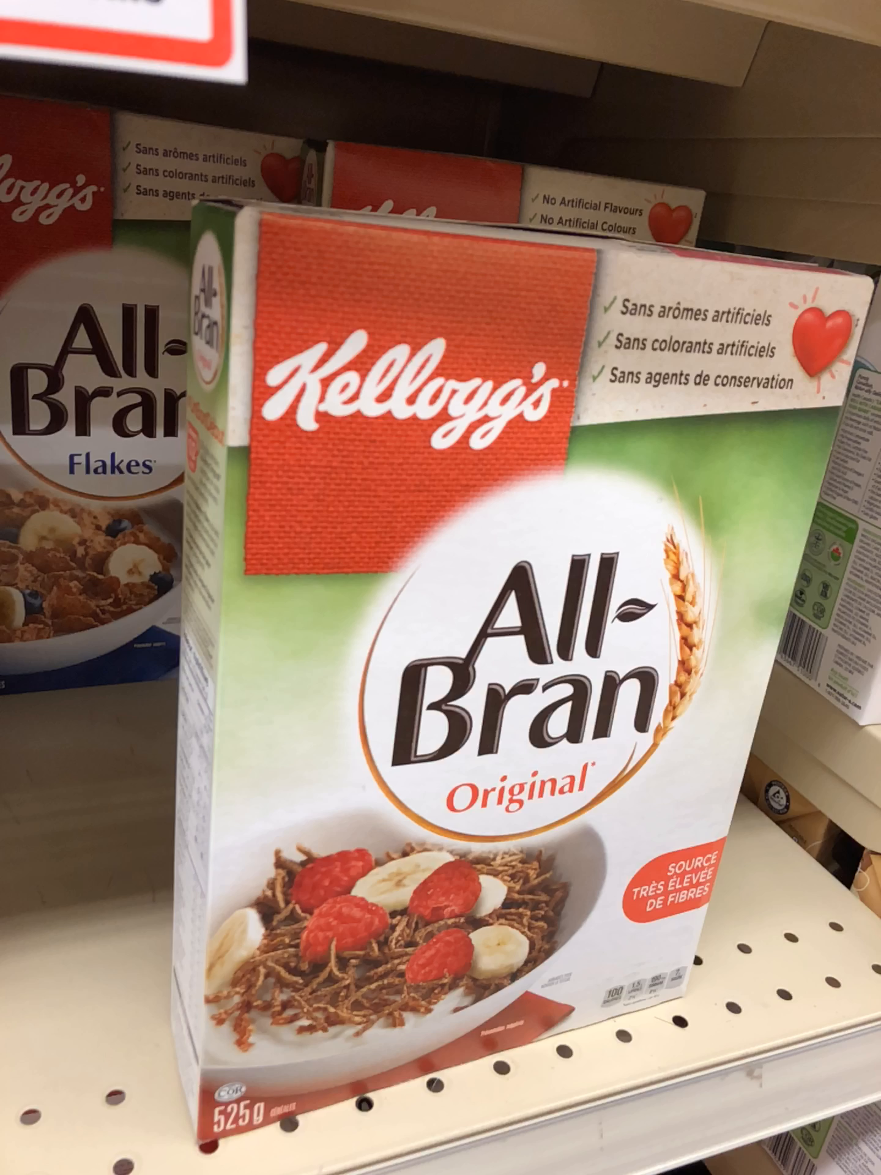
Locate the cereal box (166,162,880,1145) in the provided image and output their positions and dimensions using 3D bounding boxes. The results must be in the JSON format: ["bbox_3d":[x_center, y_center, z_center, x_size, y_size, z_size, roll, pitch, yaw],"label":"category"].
[{"bbox_3d":[0.026,0.022,0.274,0.190,0.238,0.050,-4,25,-25],"label":"cereal box"}]
